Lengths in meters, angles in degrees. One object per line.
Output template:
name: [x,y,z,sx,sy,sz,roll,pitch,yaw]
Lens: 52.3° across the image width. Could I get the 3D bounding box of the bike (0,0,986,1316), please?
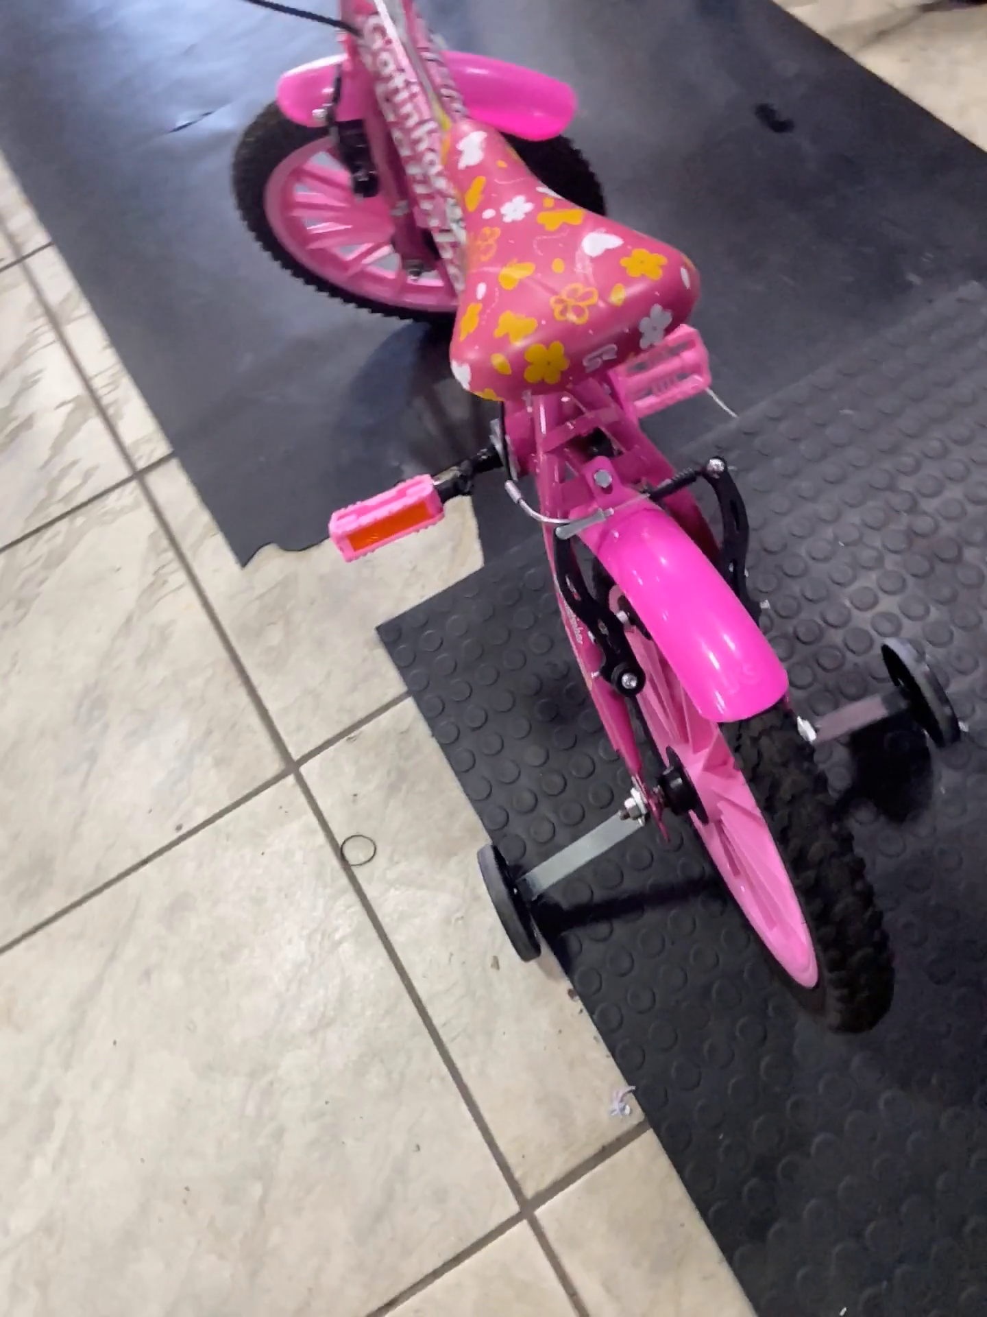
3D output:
bike: [-0.041,-0.203,0.688,0.465,0.791,0.941,-31,61,-4]
